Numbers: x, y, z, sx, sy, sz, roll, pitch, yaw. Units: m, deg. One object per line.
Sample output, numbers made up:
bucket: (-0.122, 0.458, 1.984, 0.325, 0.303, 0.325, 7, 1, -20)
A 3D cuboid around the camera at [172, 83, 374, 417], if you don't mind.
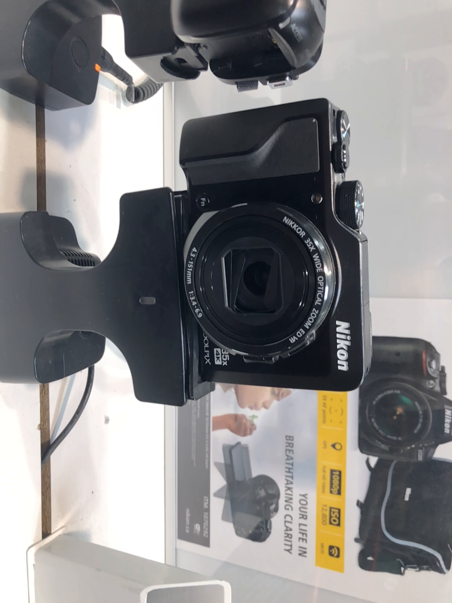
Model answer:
camera: (0.023, -0.020, 0.207, 0.044, 0.069, 0.116, -34, 123, -67)
